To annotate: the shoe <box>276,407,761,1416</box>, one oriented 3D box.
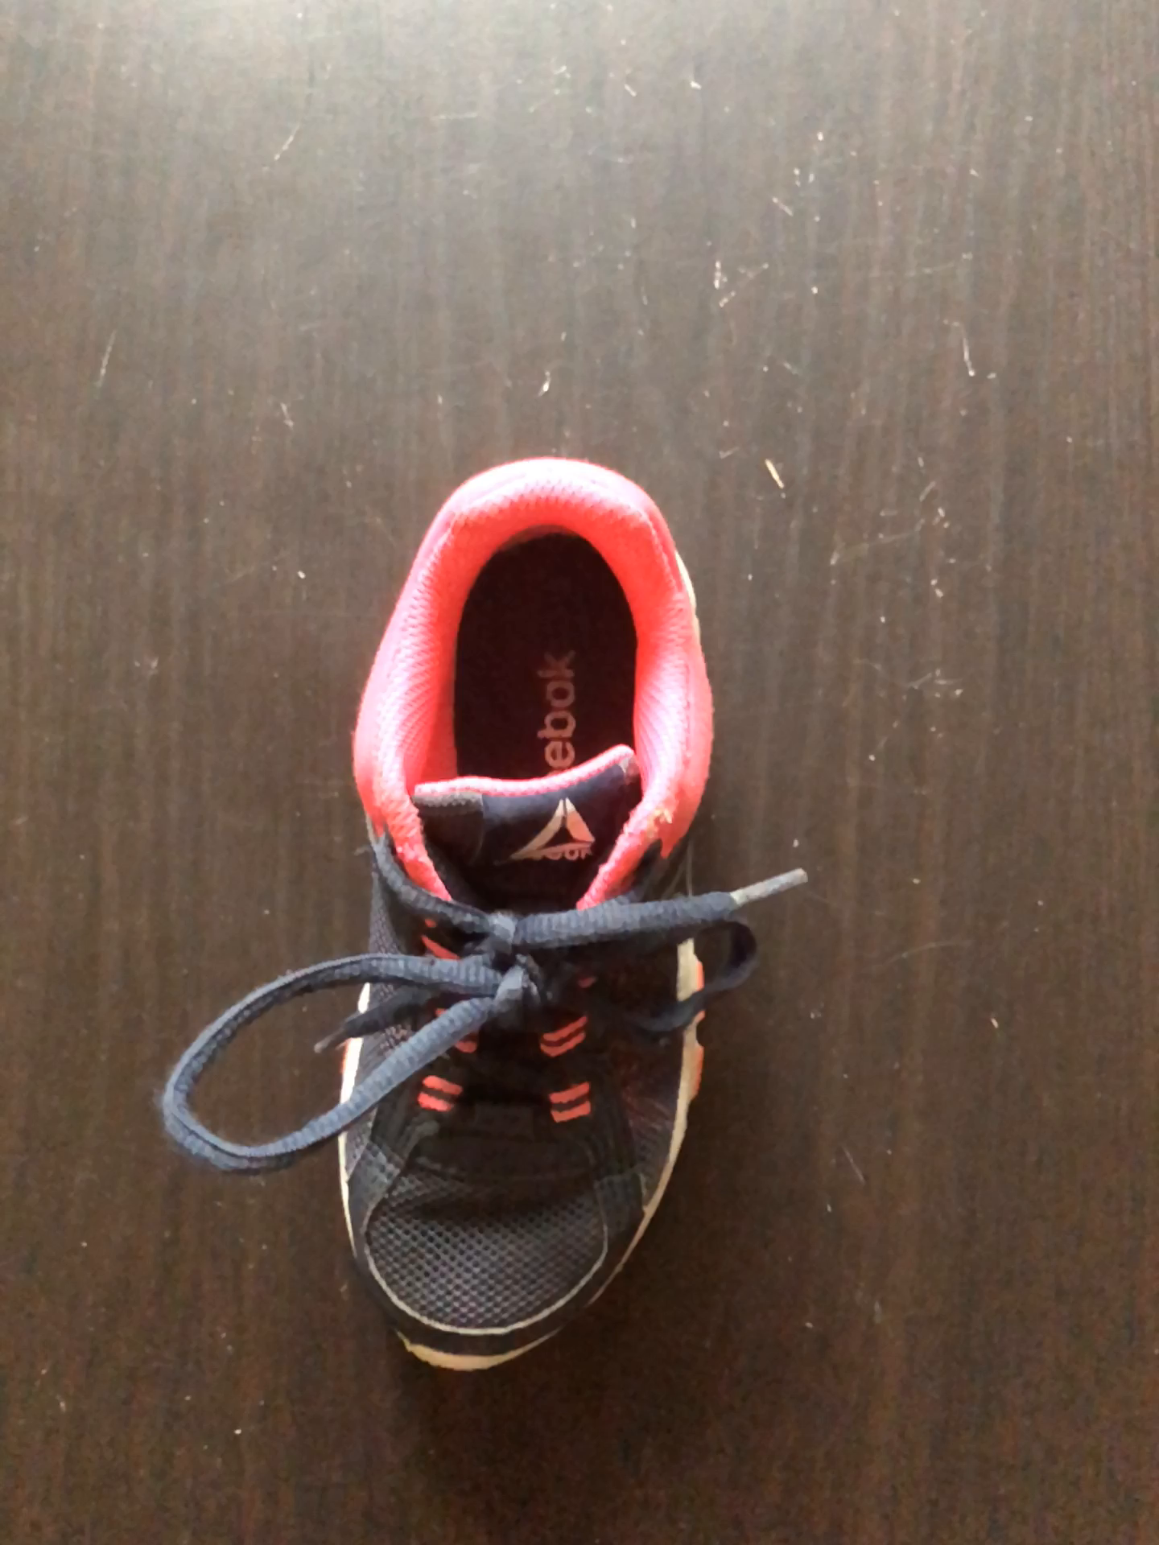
[{"bbox_3d":[-0.011,0.027,0.289,0.080,0.070,0.193,5,86,0],"label":"shoe"}]
